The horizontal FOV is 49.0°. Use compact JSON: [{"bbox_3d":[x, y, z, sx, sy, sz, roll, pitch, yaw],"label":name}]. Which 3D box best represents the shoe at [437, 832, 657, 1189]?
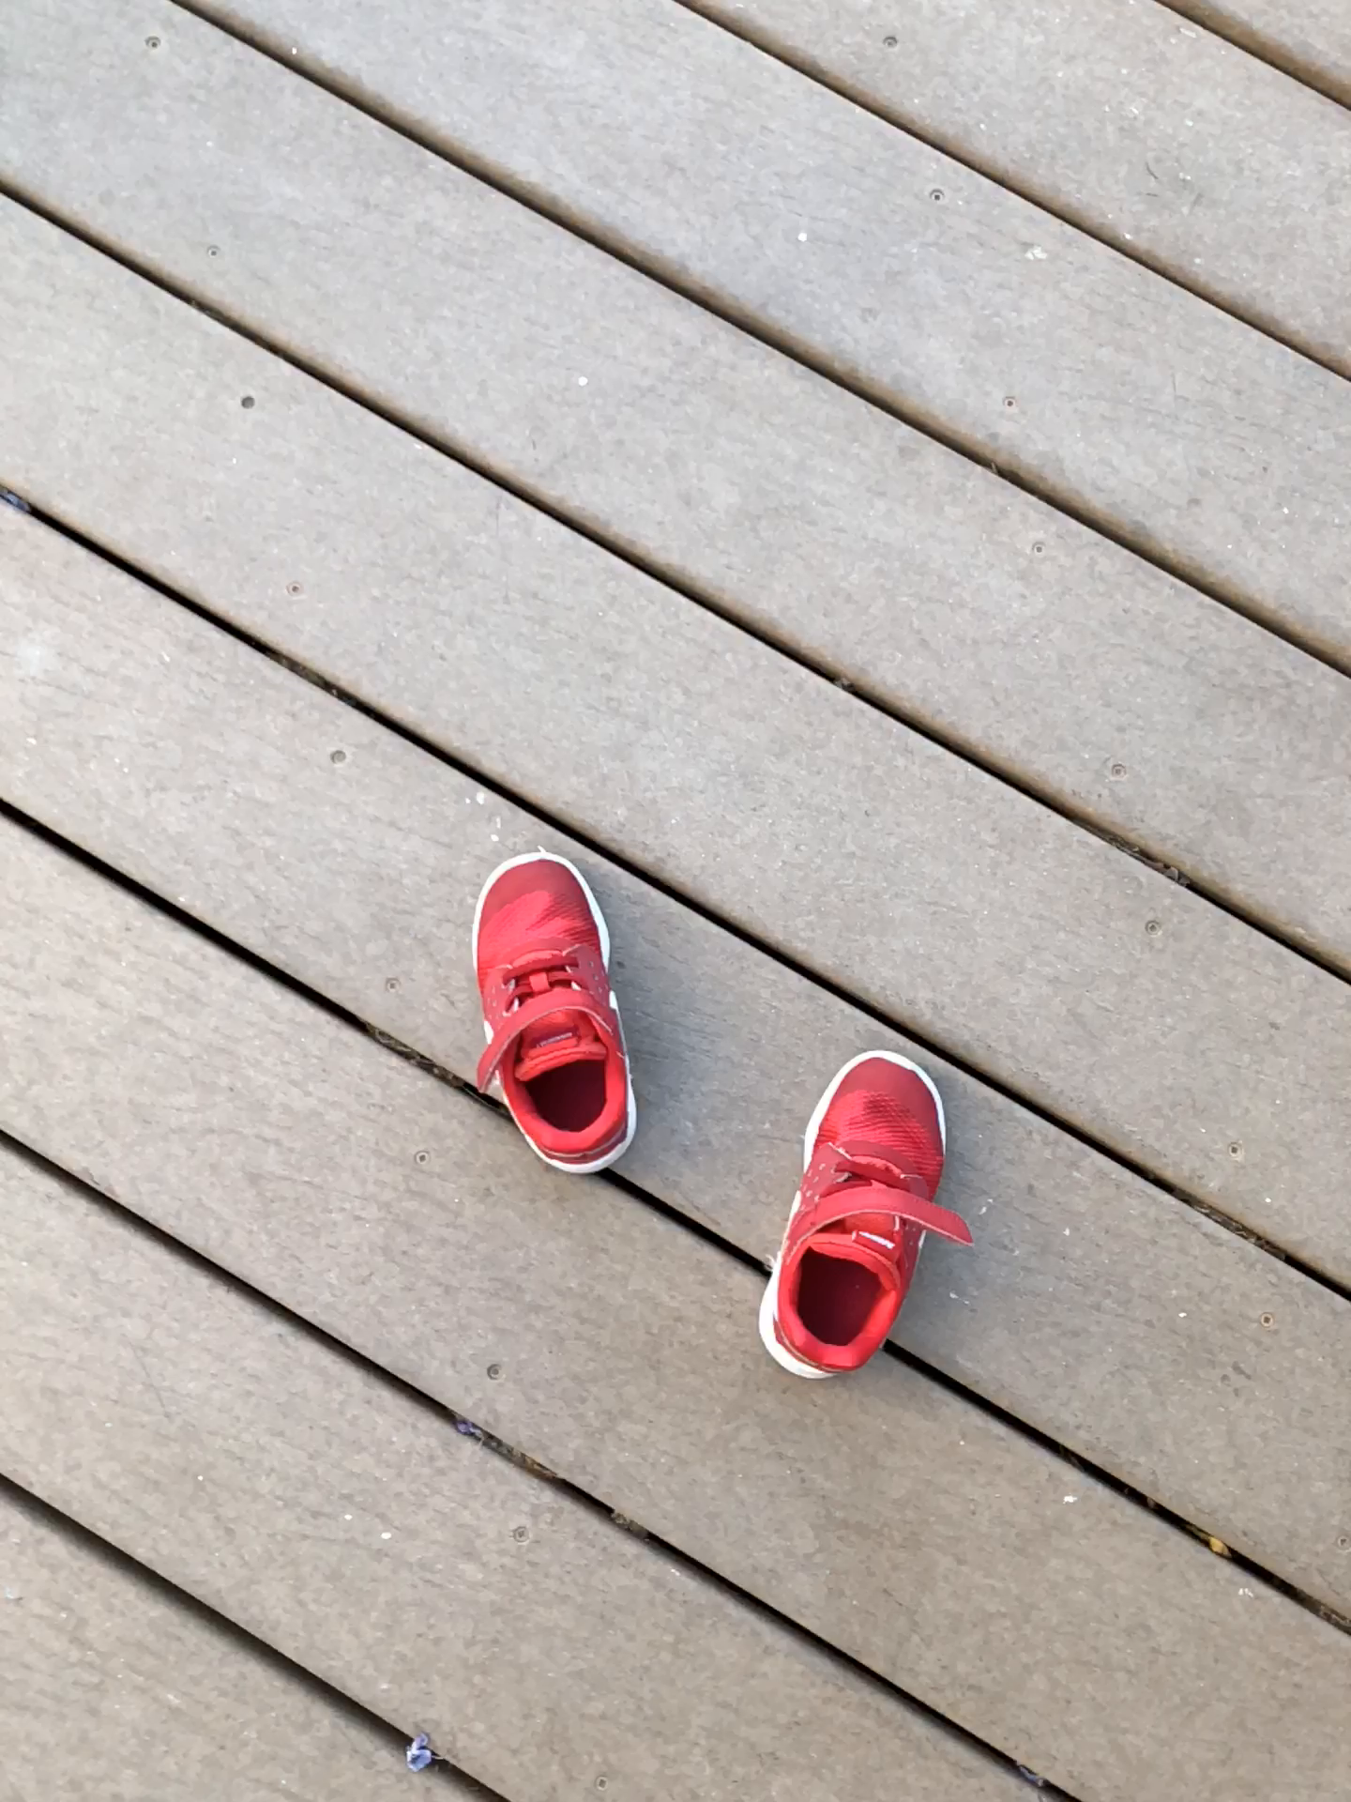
[{"bbox_3d":[-0.060,0.053,0.718,0.073,0.070,0.153,-12,84,-3],"label":"shoe"}]

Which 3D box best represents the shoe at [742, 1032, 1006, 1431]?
[{"bbox_3d":[0.092,0.153,0.707,0.069,0.070,0.164,18,83,1],"label":"shoe"}]
